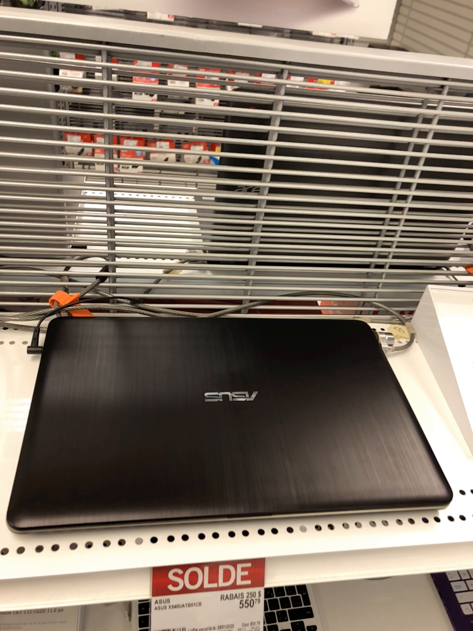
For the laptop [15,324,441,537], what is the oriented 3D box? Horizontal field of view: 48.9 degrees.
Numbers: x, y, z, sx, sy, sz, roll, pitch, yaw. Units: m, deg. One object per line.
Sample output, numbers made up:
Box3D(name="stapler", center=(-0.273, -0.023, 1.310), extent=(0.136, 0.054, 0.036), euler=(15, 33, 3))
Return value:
Box3D(name="laptop", center=(-0.005, 0.093, 0.530), extent=(0.367, 0.013, 0.235), euler=(1, 40, -13))
